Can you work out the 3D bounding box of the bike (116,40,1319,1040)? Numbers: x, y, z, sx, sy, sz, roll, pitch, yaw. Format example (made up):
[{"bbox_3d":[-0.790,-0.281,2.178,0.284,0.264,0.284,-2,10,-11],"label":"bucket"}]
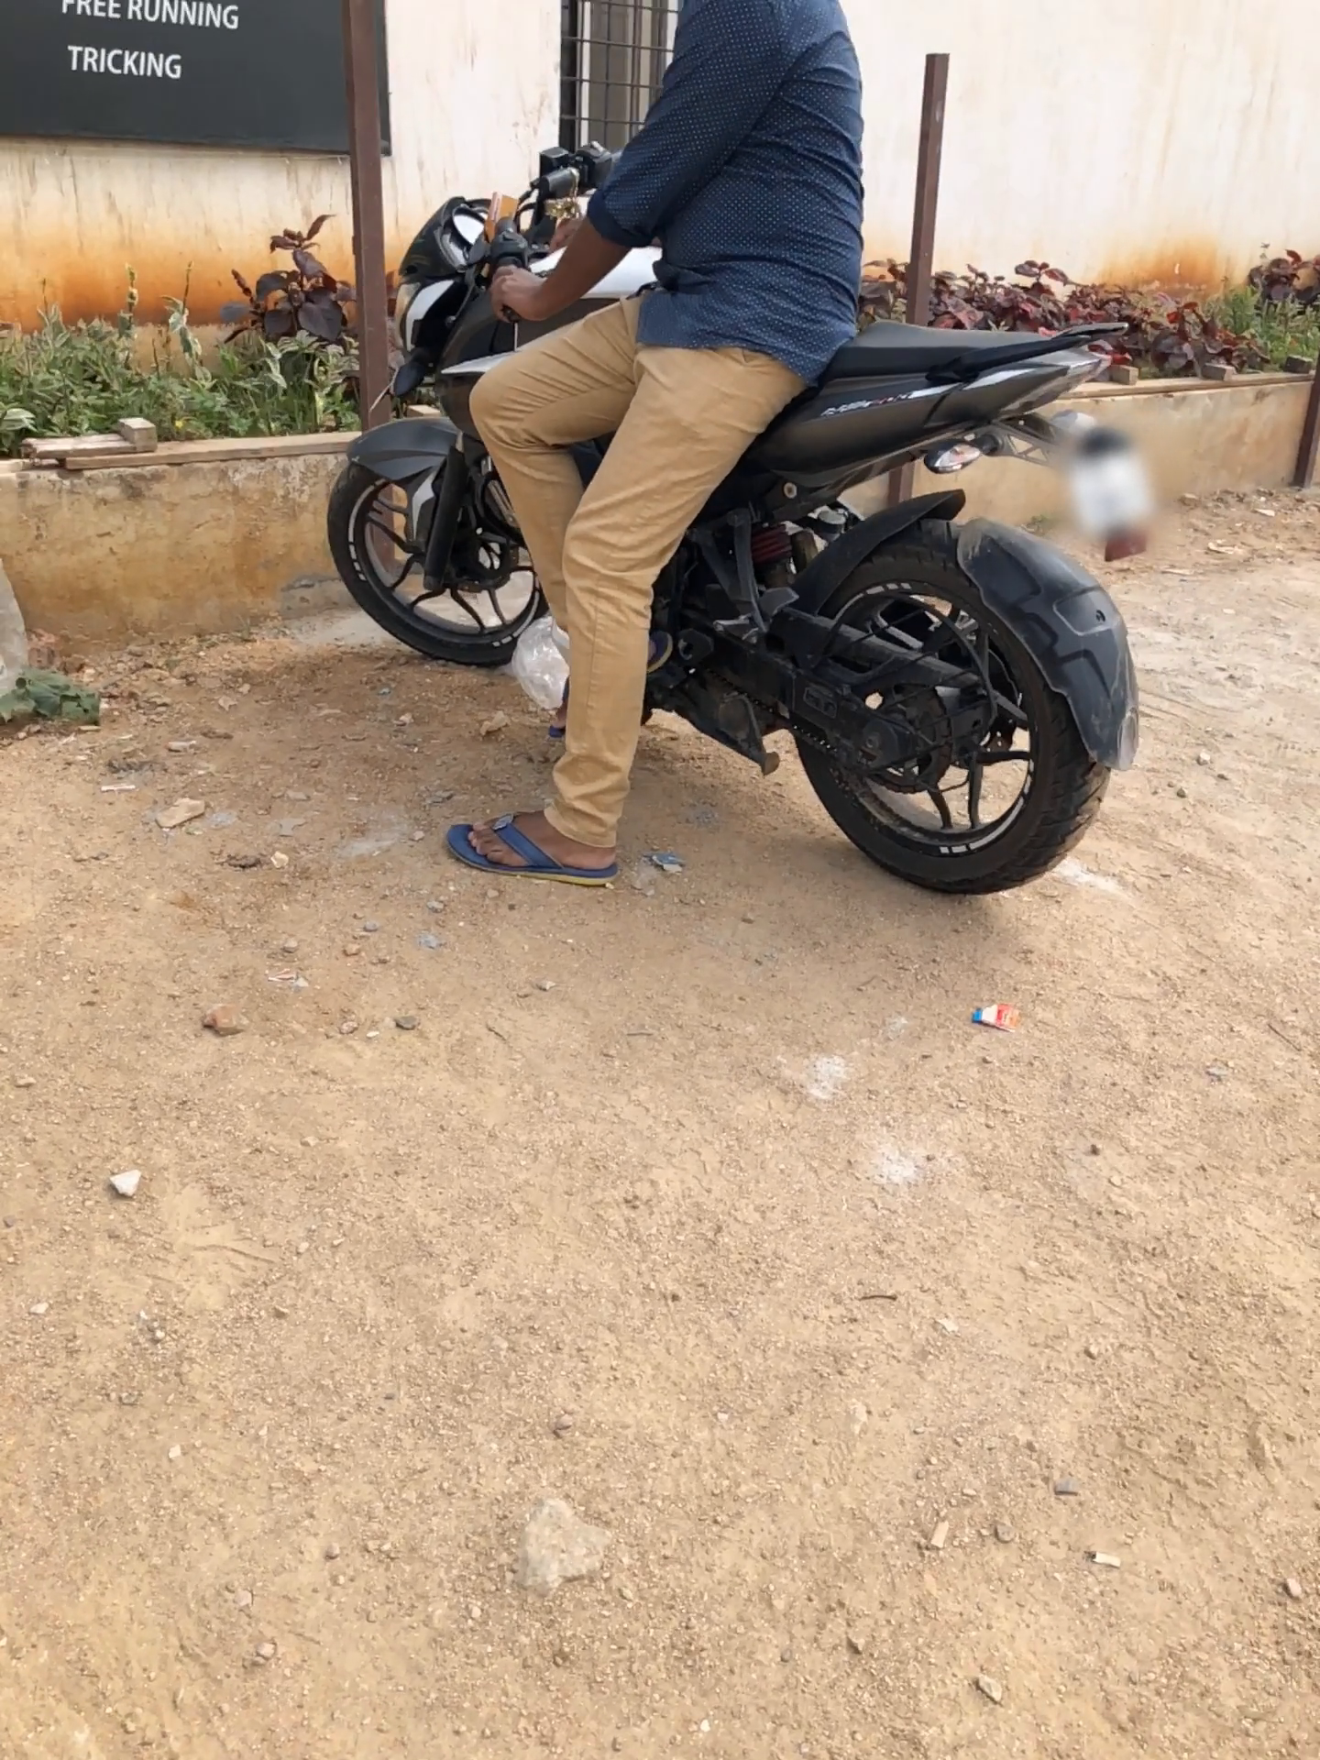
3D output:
[{"bbox_3d":[-0.016,-0.741,2.542,1.849,1.123,0.783,25,33,34],"label":"bike"}]
